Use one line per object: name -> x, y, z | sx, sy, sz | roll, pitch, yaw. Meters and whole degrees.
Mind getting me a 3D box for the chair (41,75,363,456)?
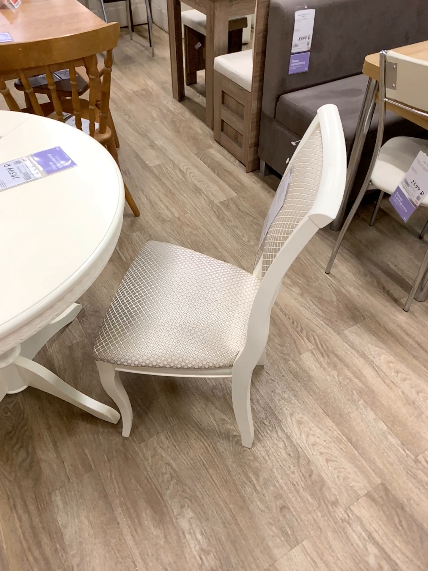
chair -> -0.002, 0.011, 1.171 | 0.510, 0.905, 0.462 | 6, 46, 5
